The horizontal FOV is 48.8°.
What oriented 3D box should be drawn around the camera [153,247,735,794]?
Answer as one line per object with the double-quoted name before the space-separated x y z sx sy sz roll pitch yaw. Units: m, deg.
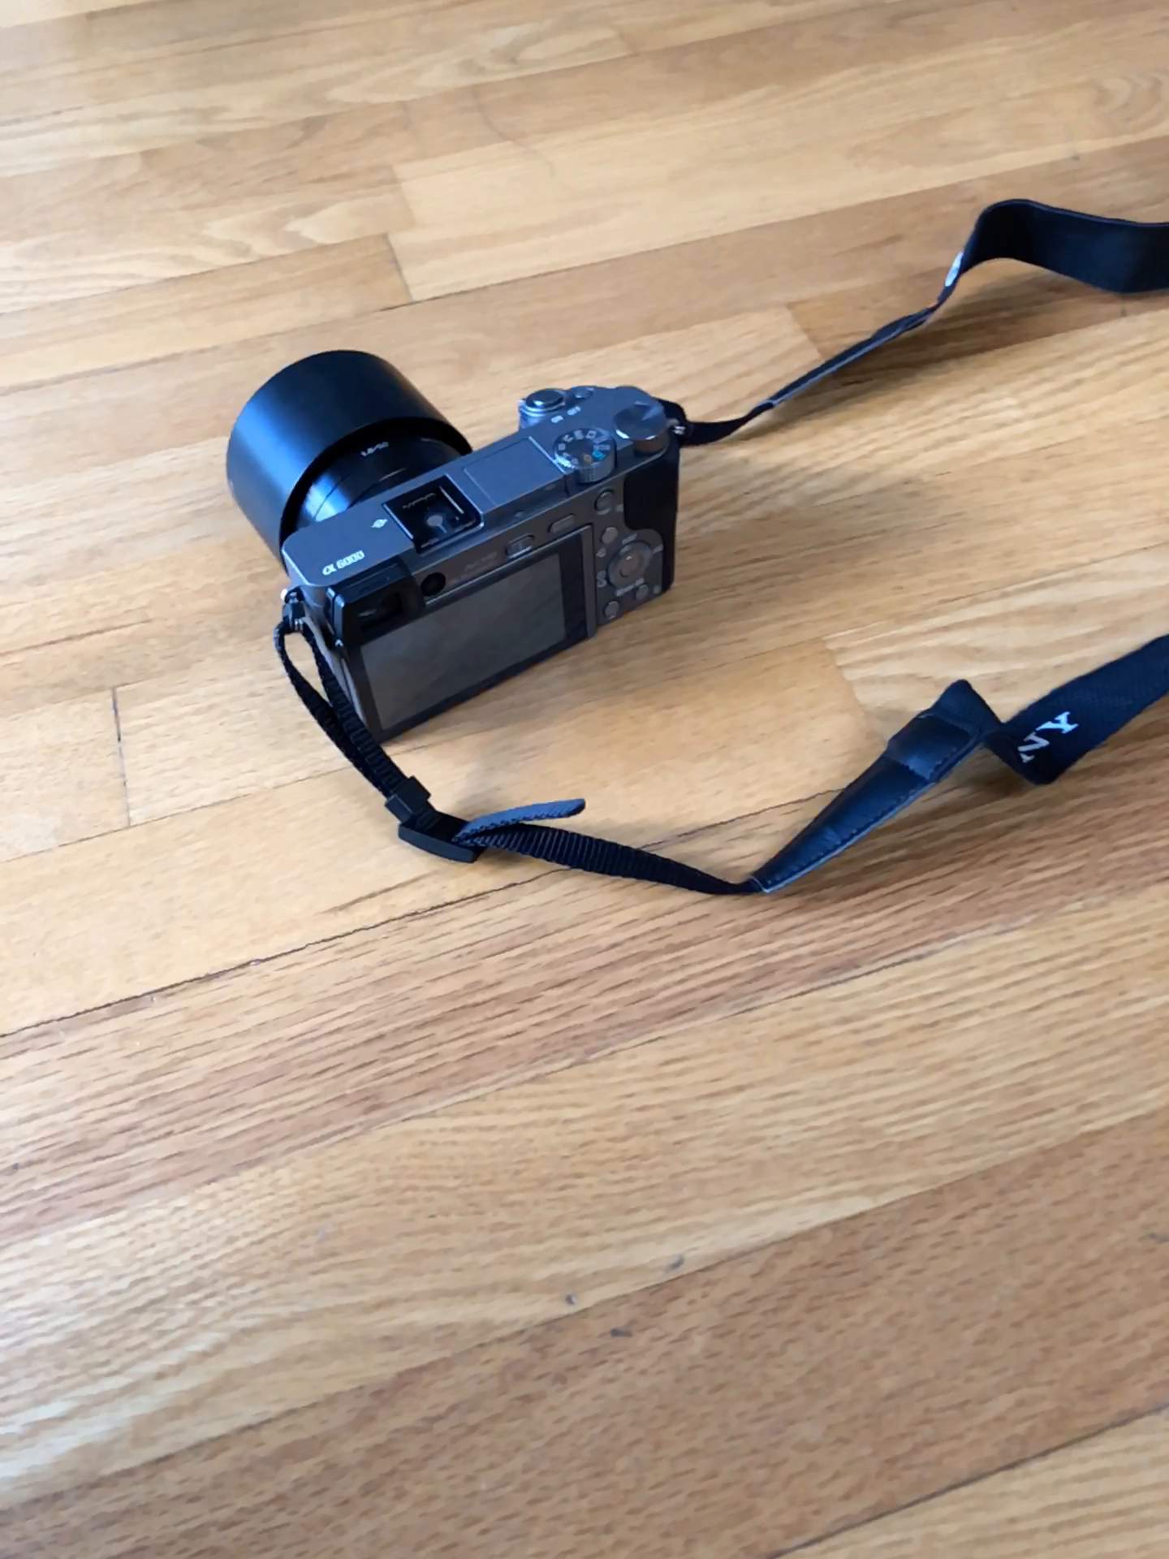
"camera" -0.041 -0.086 0.410 0.136 0.079 0.107 -30 58 -18
